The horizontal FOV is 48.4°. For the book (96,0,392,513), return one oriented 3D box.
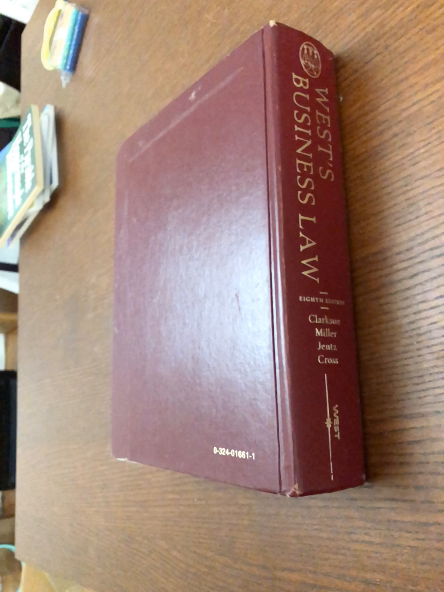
[{"bbox_3d":[-0.006,-0.024,0.356,0.221,0.070,0.290,-14,73,50],"label":"book"}]
